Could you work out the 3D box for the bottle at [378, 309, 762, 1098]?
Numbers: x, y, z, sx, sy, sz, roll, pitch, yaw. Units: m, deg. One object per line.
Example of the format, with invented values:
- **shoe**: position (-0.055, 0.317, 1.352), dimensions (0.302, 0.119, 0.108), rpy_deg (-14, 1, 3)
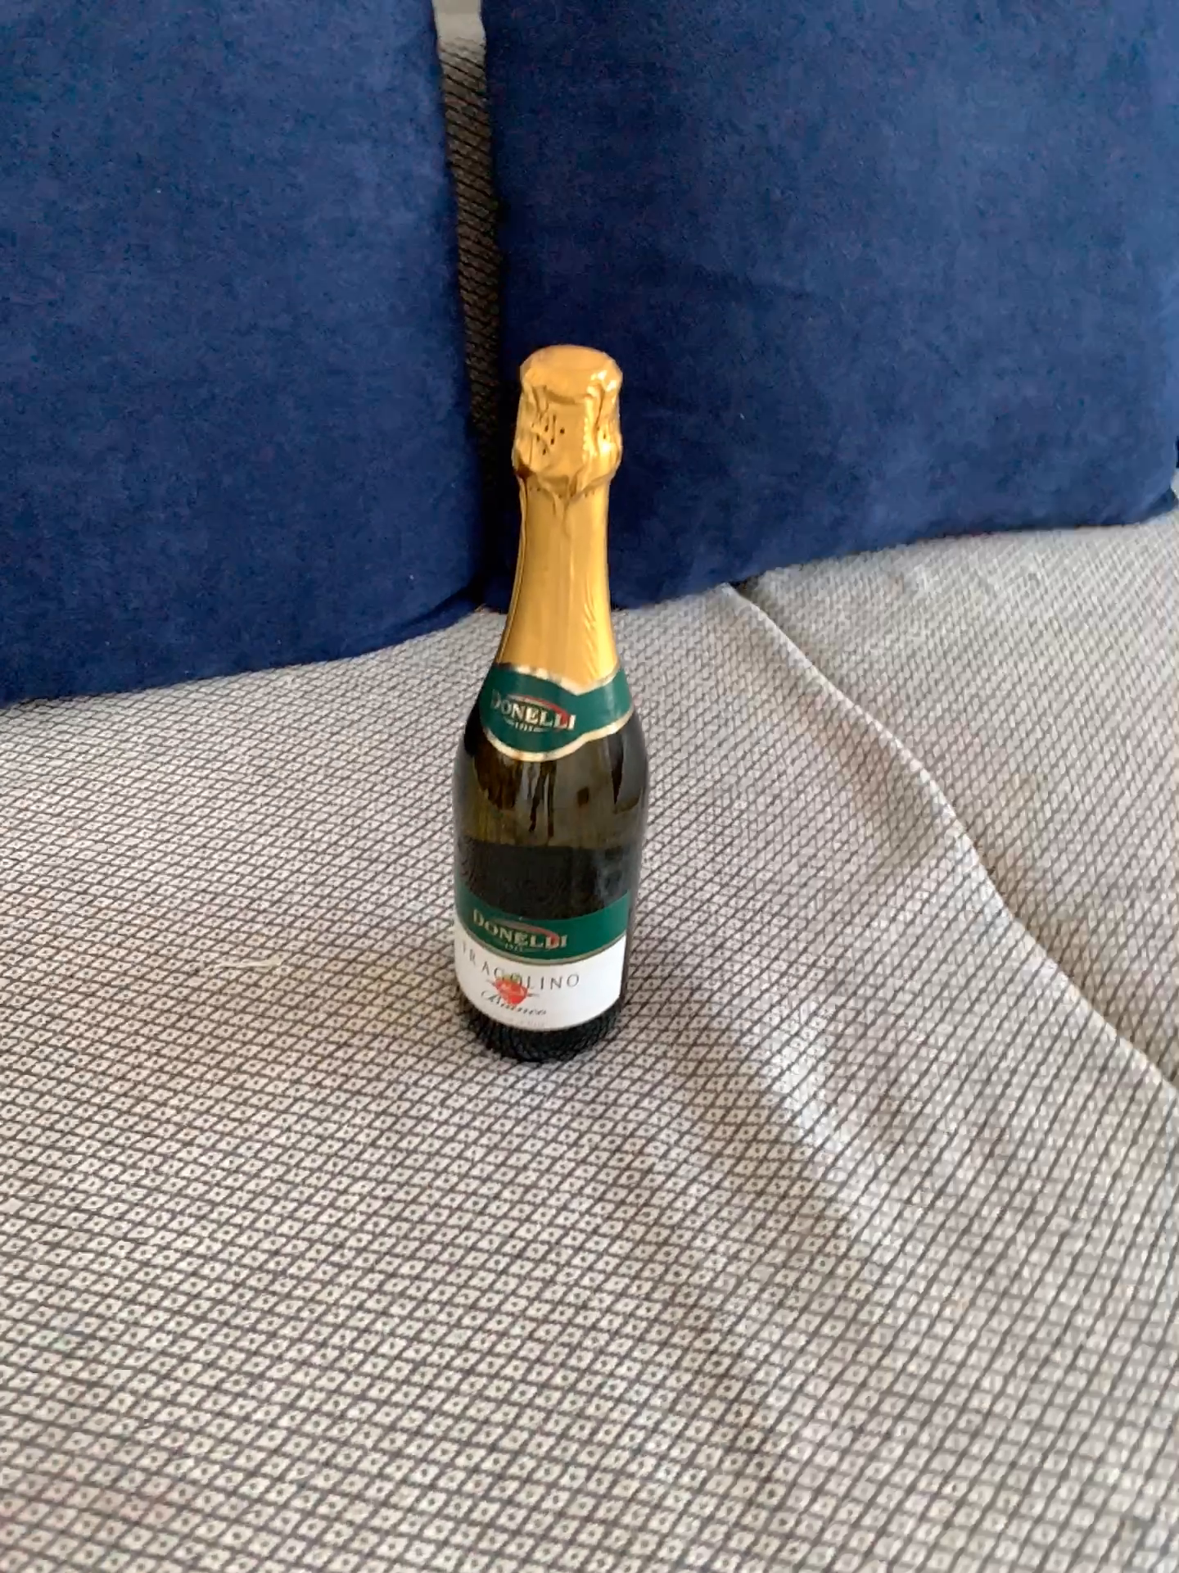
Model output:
- **bottle**: position (-0.008, -0.015, 0.464), dimensions (0.090, 0.289, 0.090), rpy_deg (2, 41, -1)
